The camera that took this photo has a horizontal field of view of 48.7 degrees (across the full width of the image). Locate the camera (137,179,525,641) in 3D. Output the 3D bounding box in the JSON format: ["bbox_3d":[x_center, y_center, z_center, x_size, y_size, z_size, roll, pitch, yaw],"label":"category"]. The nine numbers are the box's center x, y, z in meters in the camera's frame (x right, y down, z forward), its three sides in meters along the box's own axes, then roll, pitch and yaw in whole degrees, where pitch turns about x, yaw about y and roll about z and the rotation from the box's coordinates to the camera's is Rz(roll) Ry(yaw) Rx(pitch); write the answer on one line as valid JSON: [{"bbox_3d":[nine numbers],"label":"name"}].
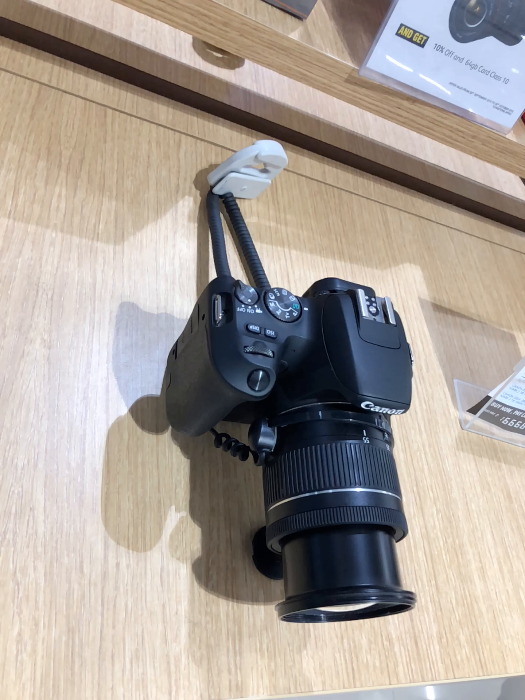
[{"bbox_3d":[0.020,0.033,0.260,0.120,0.099,0.161,11,55,-25],"label":"camera"}]
